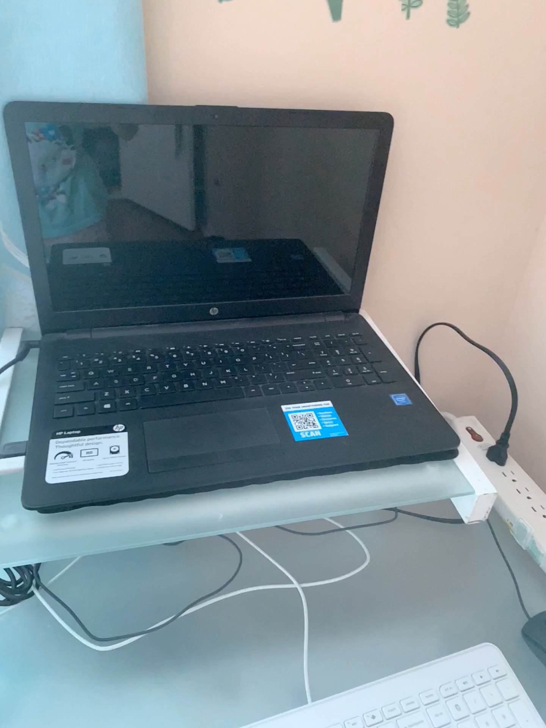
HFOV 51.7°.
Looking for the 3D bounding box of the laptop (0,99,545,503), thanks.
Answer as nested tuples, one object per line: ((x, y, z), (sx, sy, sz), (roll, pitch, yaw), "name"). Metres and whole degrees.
((-0.033, -0.075, 0.490), (0.358, 0.226, 0.246), (-5, 35, -15), "laptop")
